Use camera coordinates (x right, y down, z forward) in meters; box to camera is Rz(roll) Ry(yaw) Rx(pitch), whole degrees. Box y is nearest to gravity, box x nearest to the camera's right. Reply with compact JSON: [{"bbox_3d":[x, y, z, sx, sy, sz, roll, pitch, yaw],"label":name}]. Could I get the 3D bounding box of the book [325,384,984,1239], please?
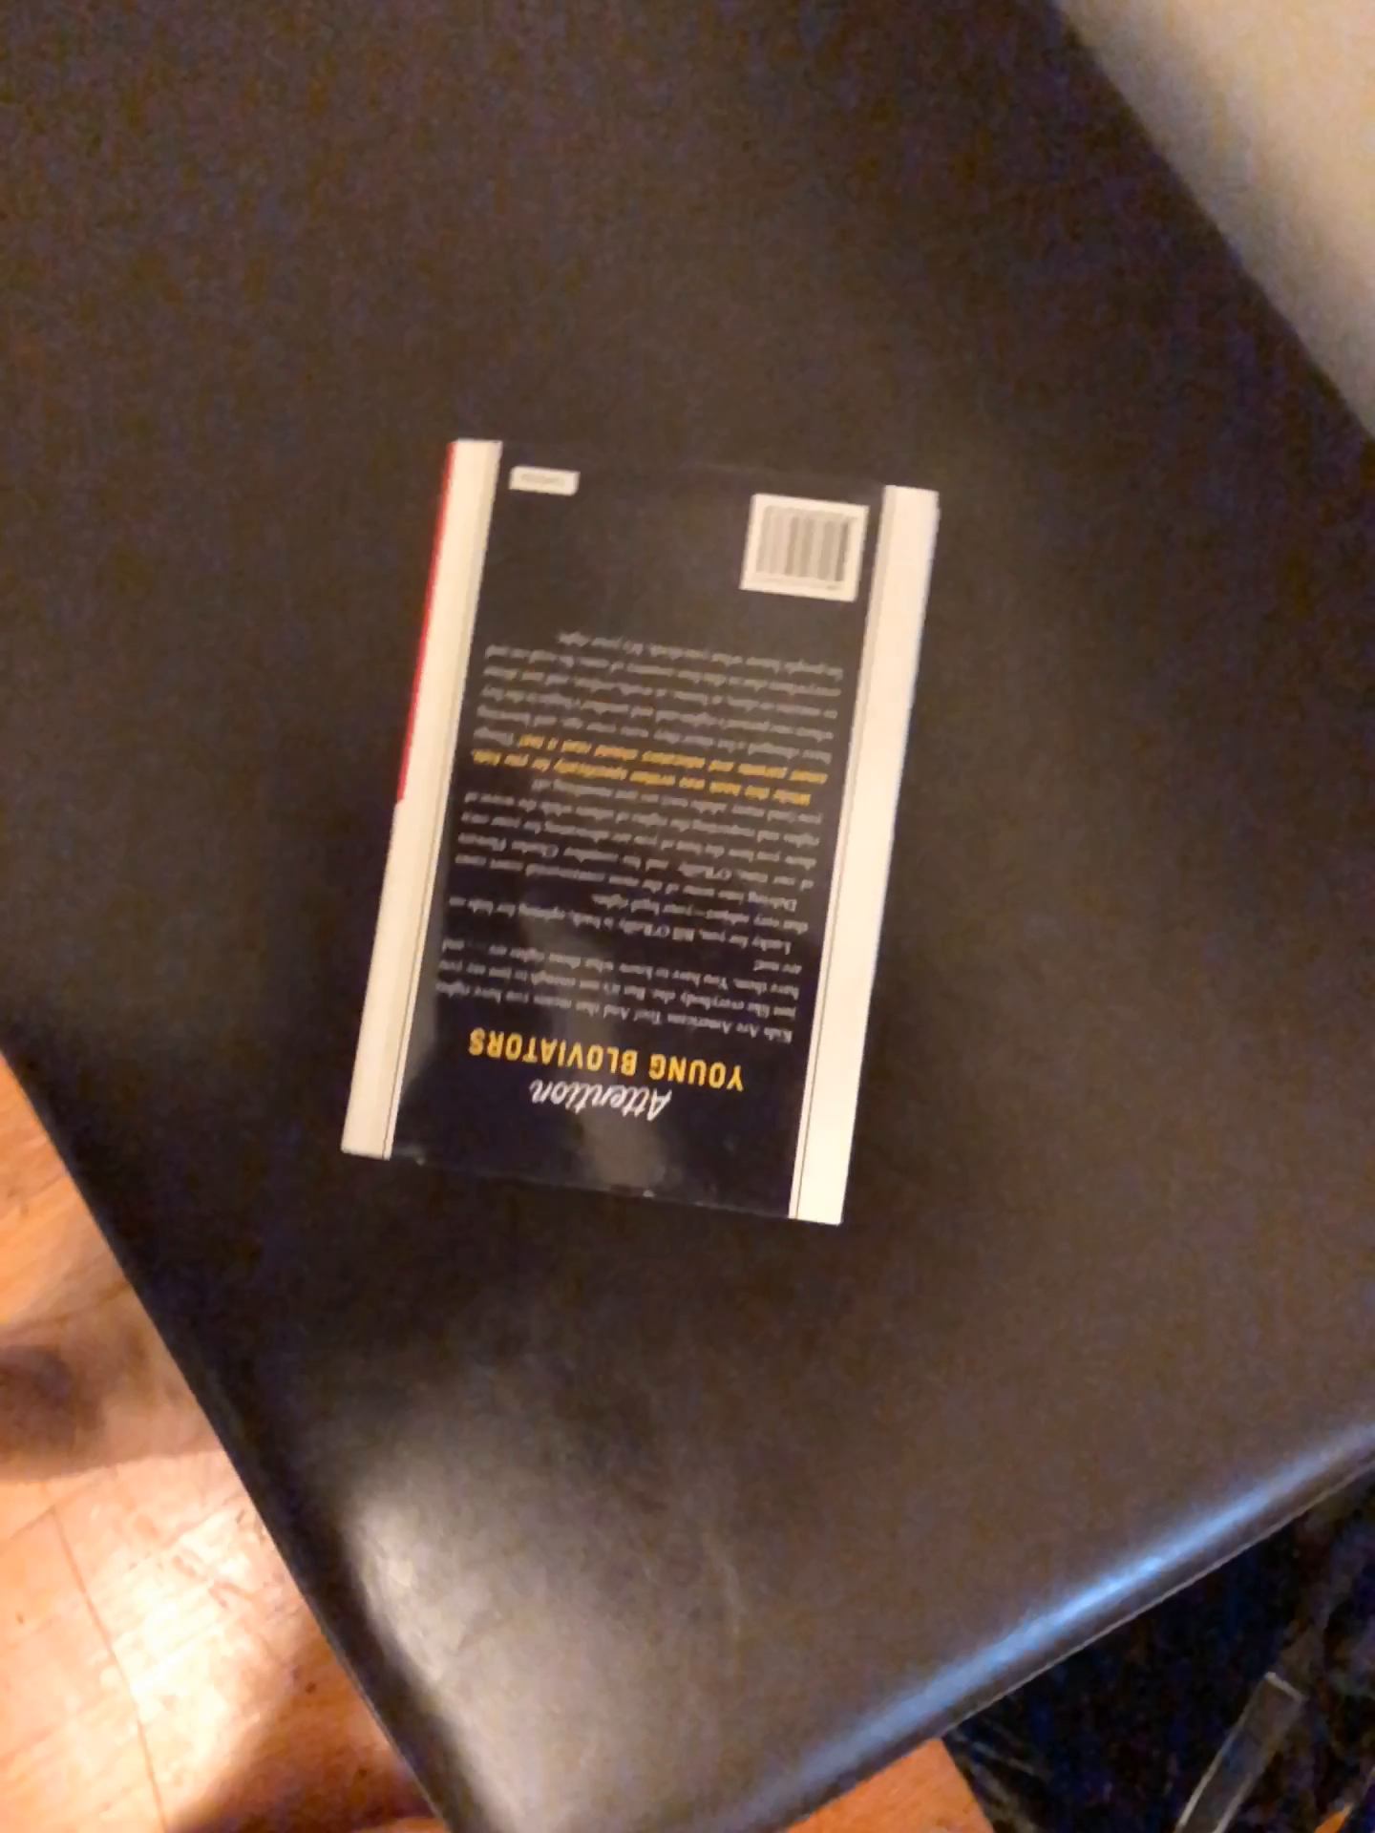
[{"bbox_3d":[-0.008,-0.034,0.446,0.160,0.020,0.230,7,86,5],"label":"book"}]
